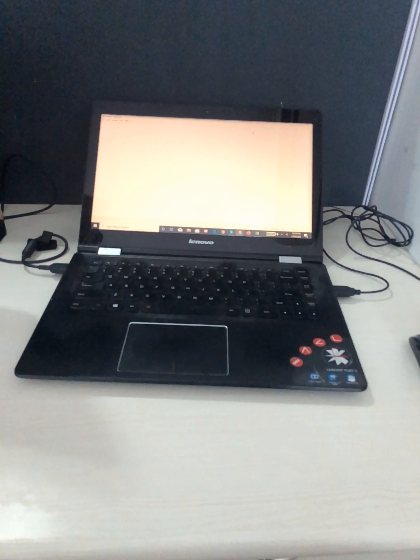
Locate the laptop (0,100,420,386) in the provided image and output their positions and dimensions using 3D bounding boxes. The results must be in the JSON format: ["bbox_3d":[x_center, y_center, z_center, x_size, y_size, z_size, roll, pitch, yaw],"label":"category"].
[{"bbox_3d":[-0.010,-0.081,0.552,0.334,0.170,0.388,3,32,-1],"label":"laptop"}]
